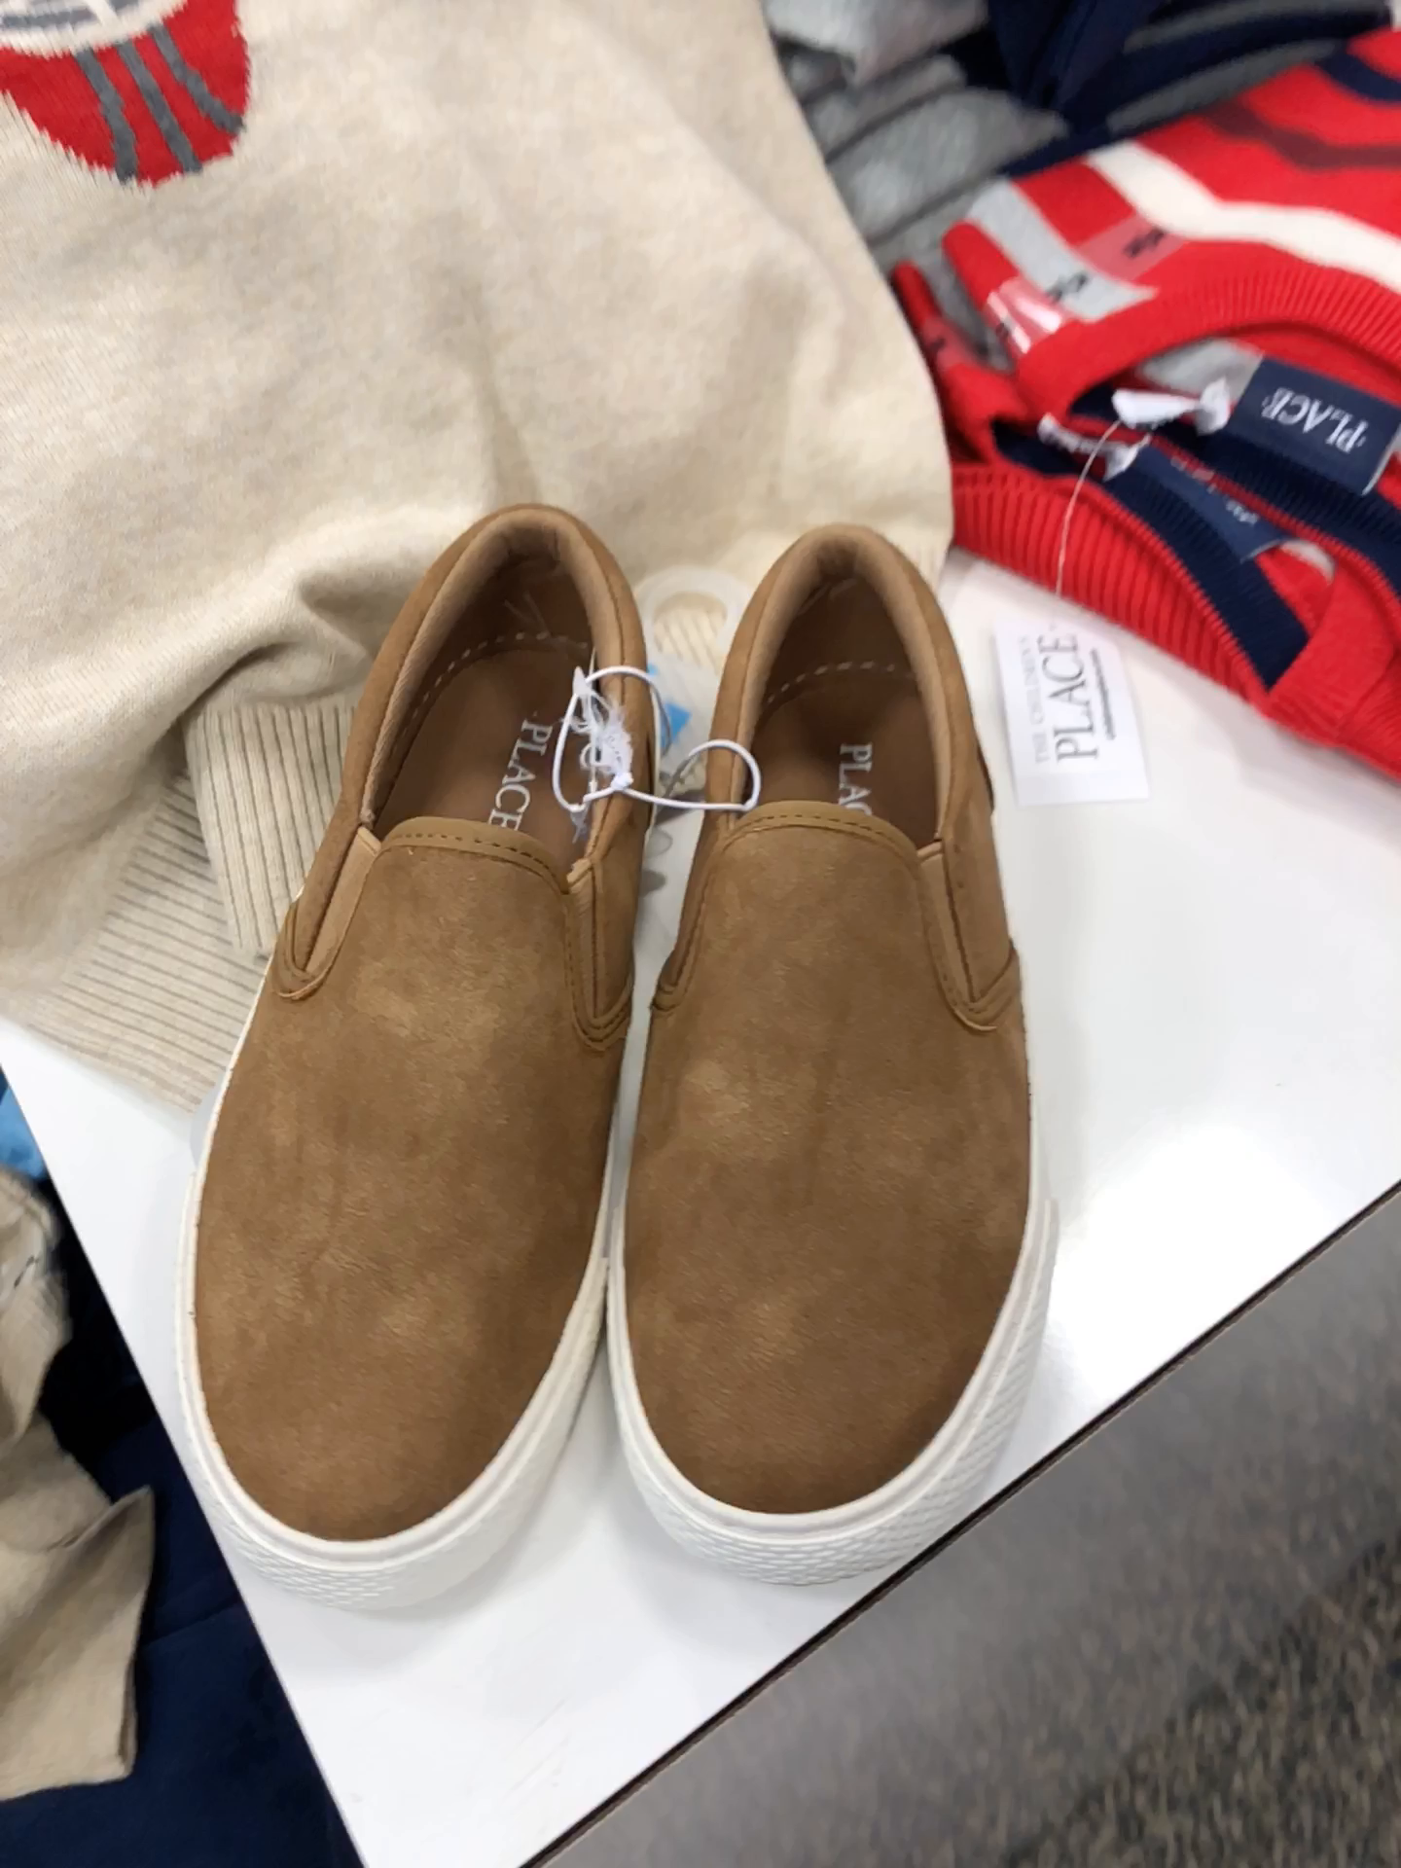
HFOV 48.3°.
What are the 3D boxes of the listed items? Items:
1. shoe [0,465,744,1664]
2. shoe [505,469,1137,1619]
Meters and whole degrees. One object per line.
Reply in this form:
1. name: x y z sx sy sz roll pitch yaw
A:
1. shoe: -0.056 0.010 0.321 0.092 0.080 0.231 4 54 10
2. shoe: 0.028 0.009 0.329 0.092 0.080 0.231 0 53 7
